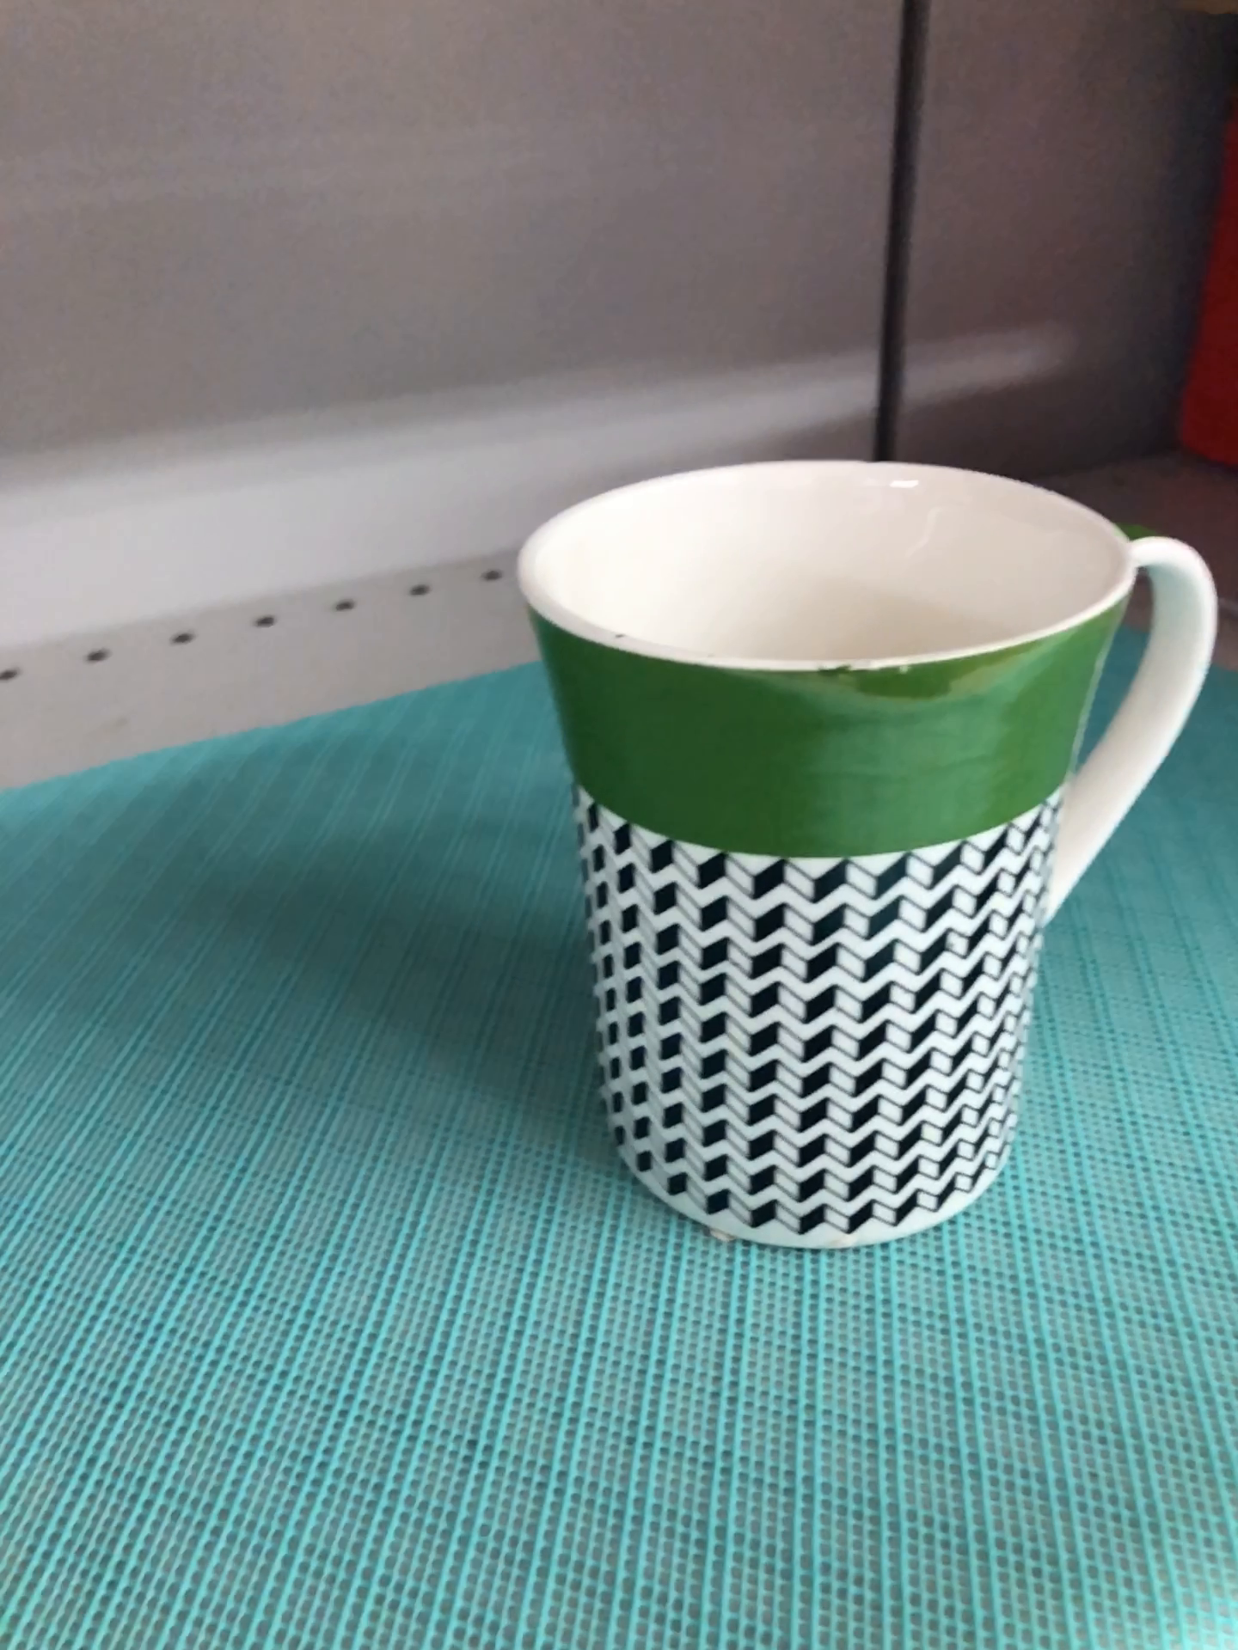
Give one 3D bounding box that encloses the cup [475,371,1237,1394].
[{"bbox_3d":[0.049,-0.003,0.208,0.110,0.099,0.080,-19,34,-28],"label":"cup"}]
